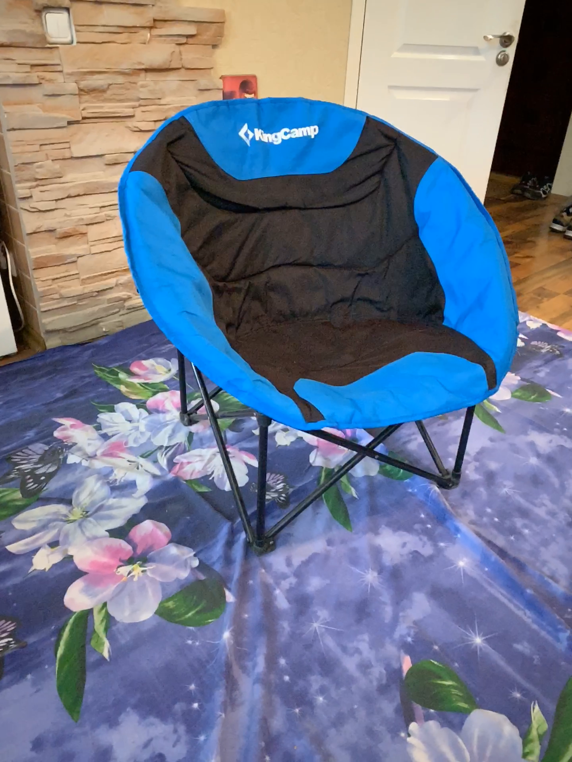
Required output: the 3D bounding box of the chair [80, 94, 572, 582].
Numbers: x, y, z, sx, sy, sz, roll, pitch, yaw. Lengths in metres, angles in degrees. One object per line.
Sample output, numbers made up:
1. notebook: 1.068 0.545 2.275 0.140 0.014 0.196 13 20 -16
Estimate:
1. chair: 0.039 -0.173 1.286 0.761 0.772 0.612 -11 33 -22
